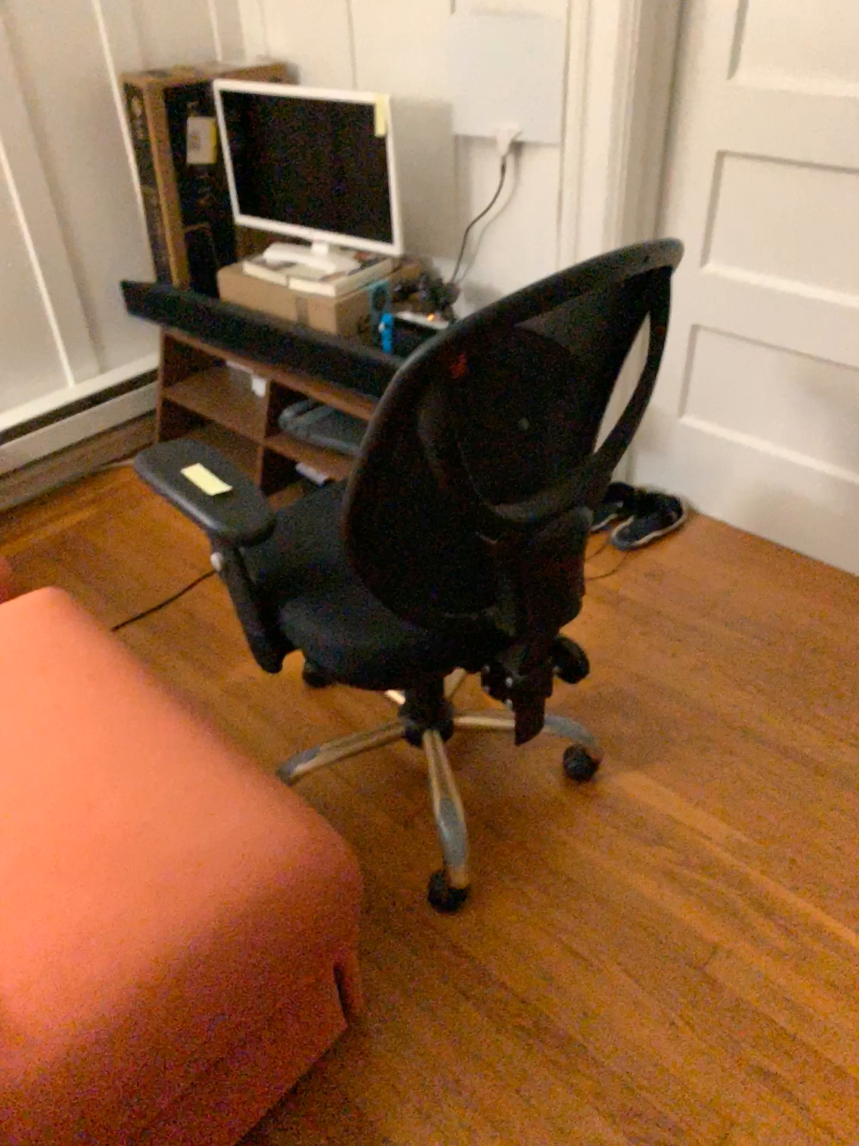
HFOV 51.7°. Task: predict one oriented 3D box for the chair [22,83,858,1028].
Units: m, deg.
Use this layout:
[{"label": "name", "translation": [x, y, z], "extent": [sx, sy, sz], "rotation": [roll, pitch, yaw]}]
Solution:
[{"label": "chair", "translation": [-0.013, -0.037, 1.254], "extent": [0.641, 0.974, 0.664], "rotation": [-24, 47, -26]}]
